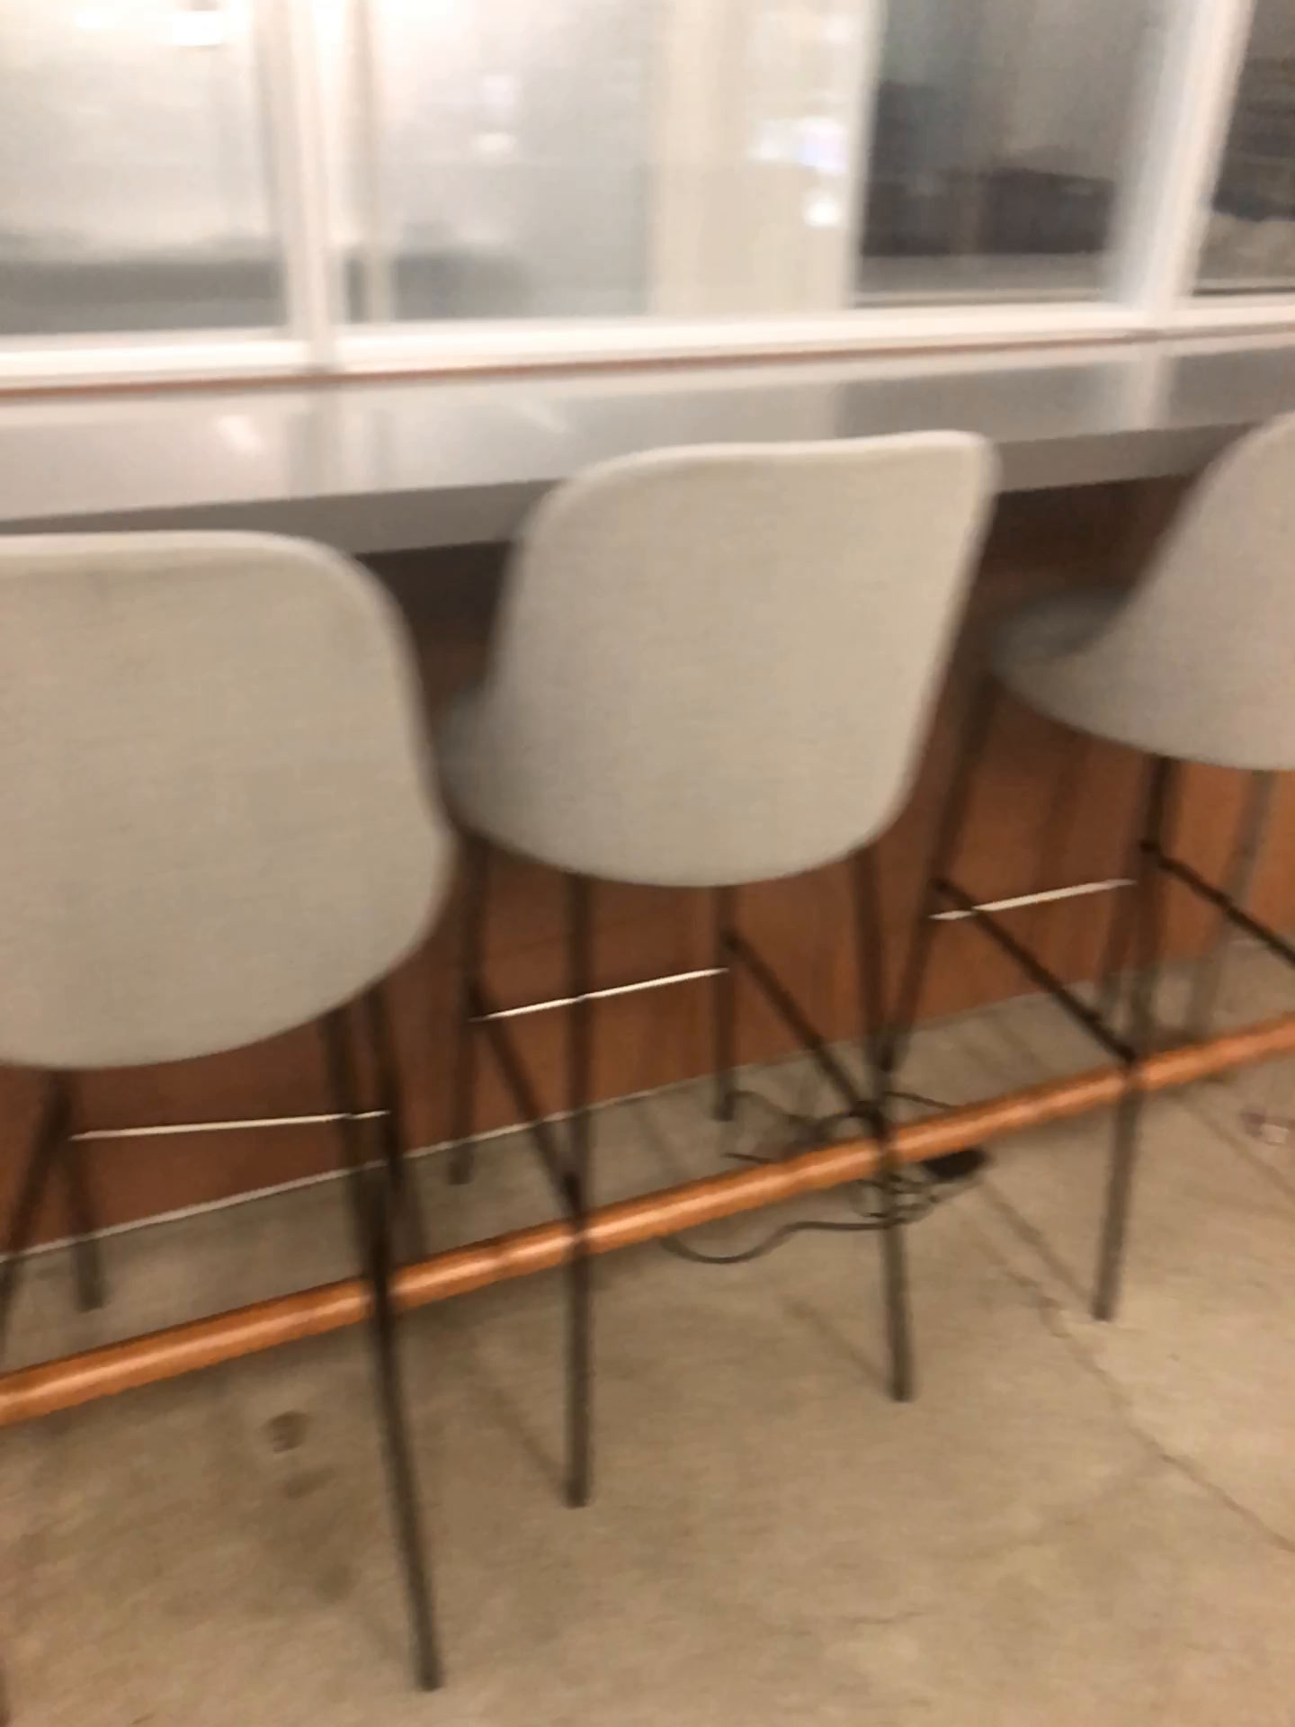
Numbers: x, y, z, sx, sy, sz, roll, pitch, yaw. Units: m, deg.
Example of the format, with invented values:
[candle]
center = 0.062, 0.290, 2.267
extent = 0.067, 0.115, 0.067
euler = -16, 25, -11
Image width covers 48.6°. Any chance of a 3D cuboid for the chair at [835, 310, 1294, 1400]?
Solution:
[chair]
center = 0.652, -0.022, 1.822
extent = 0.491, 1.180, 0.593
euler = -9, 32, -19
